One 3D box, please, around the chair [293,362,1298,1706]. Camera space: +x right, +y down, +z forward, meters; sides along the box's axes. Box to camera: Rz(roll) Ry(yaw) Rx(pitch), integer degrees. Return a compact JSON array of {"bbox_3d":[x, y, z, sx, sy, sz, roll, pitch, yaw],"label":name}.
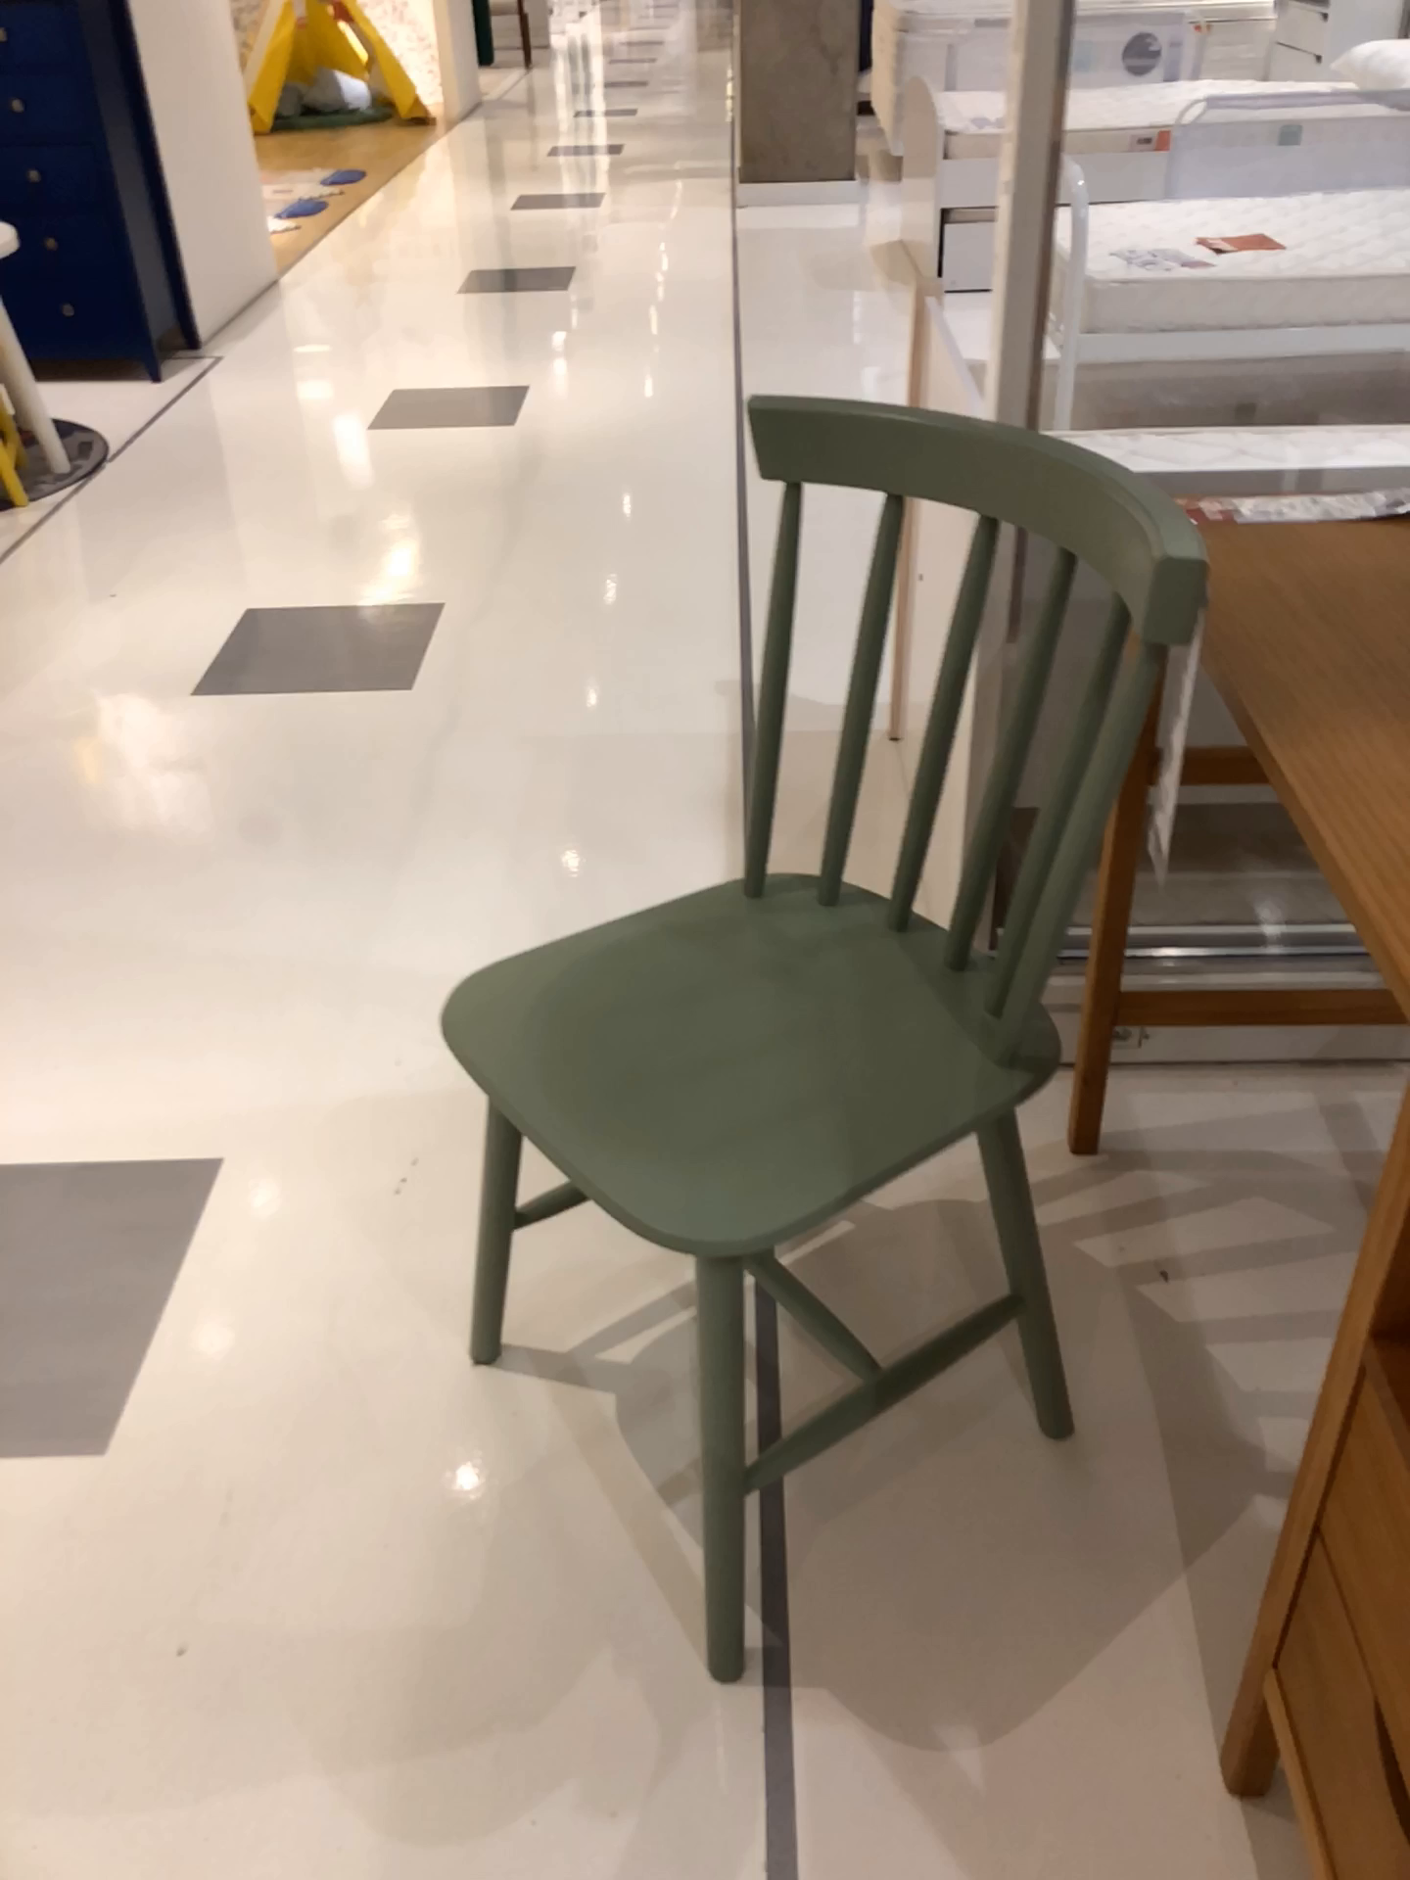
[{"bbox_3d":[0.058,0.059,1.213,0.461,0.834,0.452,-23,39,-28],"label":"chair"}]
